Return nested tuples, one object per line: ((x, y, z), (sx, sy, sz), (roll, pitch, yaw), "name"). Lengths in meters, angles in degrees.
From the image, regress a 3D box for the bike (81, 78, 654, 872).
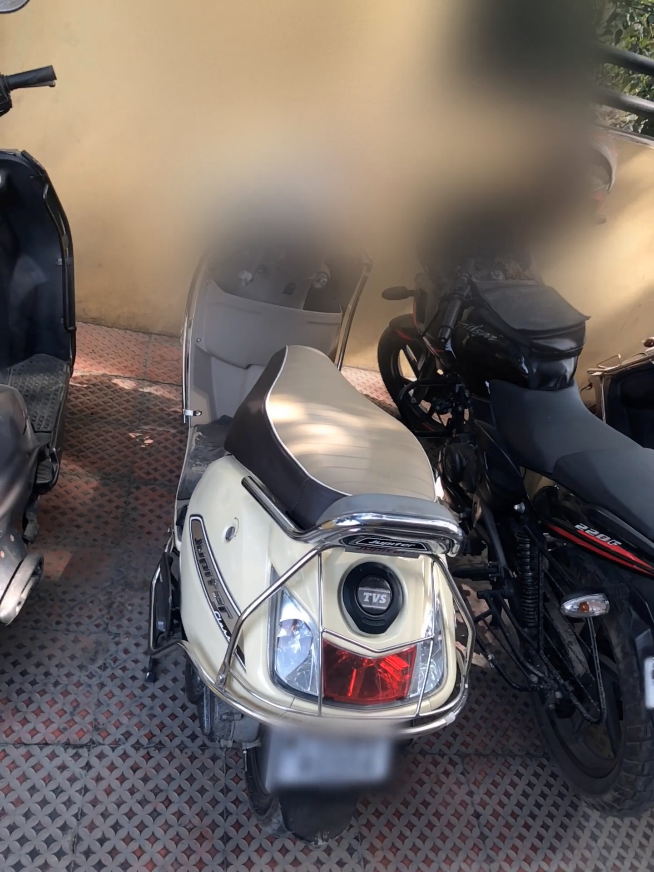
((-0.219, -0.061, 1.730), (0.645, 0.998, 1.633), (3, 36, -21), "bike")
